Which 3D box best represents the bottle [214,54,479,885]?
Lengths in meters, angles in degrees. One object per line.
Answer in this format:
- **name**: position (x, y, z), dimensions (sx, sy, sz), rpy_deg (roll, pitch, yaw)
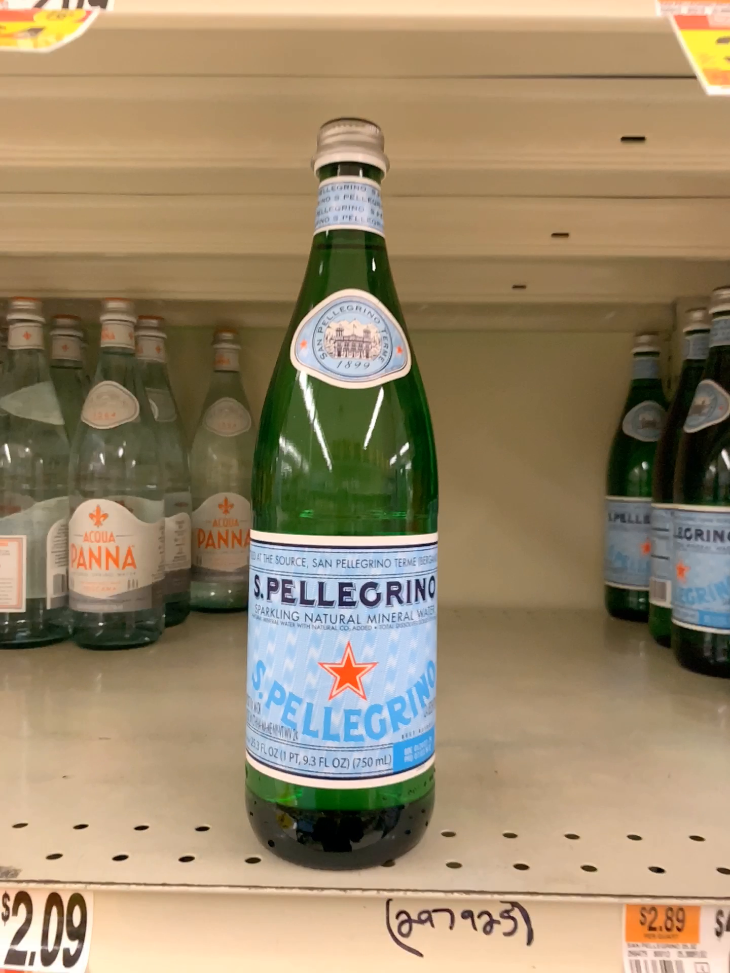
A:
- **bottle**: position (-0.005, -0.006, 0.309), dimensions (0.090, 0.290, 0.090), rpy_deg (1, 2, 0)
